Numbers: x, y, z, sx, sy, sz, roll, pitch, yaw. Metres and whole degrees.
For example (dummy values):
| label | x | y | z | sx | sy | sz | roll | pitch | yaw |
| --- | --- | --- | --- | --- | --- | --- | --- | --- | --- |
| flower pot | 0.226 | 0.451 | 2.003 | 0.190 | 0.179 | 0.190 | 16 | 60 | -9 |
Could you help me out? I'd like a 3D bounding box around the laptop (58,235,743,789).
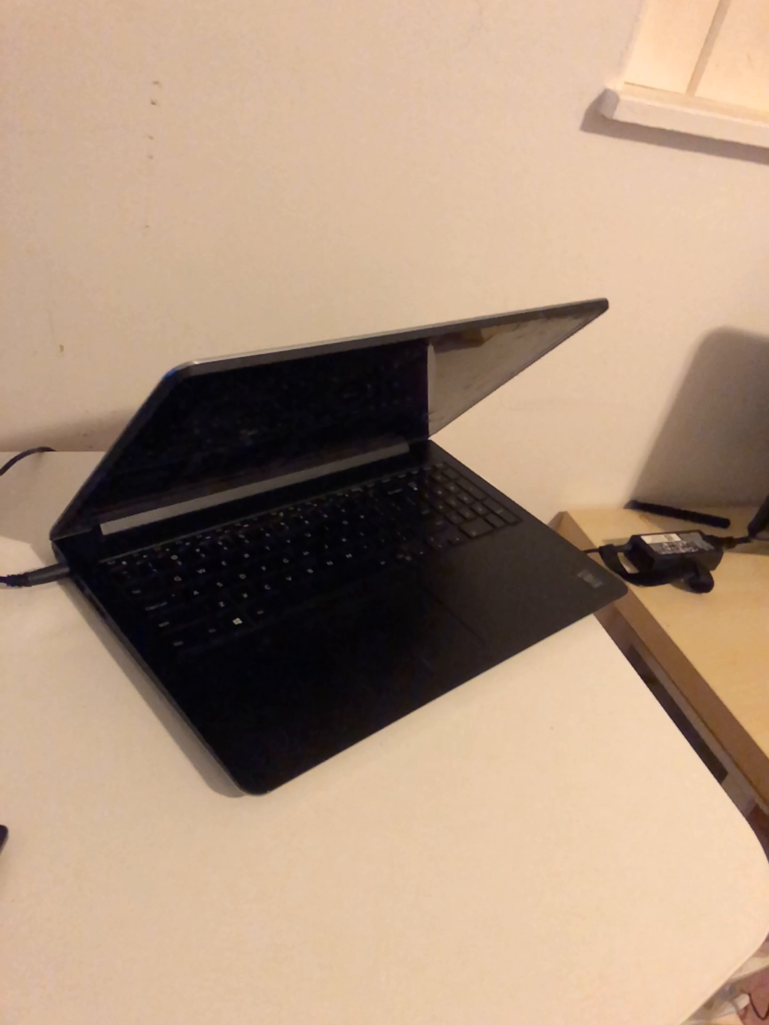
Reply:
| label | x | y | z | sx | sy | sz | roll | pitch | yaw |
| --- | --- | --- | --- | --- | --- | --- | --- | --- | --- |
| laptop | 0.007 | -0.042 | 0.599 | 0.374 | 0.208 | 0.252 | -18 | 46 | -38 |
